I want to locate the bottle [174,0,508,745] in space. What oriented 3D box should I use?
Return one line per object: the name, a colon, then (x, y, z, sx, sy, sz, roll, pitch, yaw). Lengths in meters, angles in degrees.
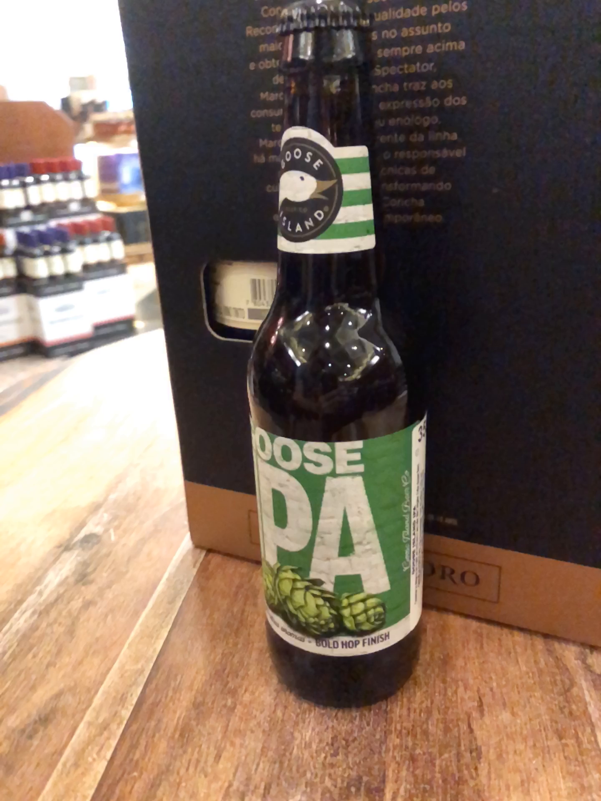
bottle: (0.019, -0.009, 0.220, 0.070, 0.228, 0.060, 9, 24, 28)
